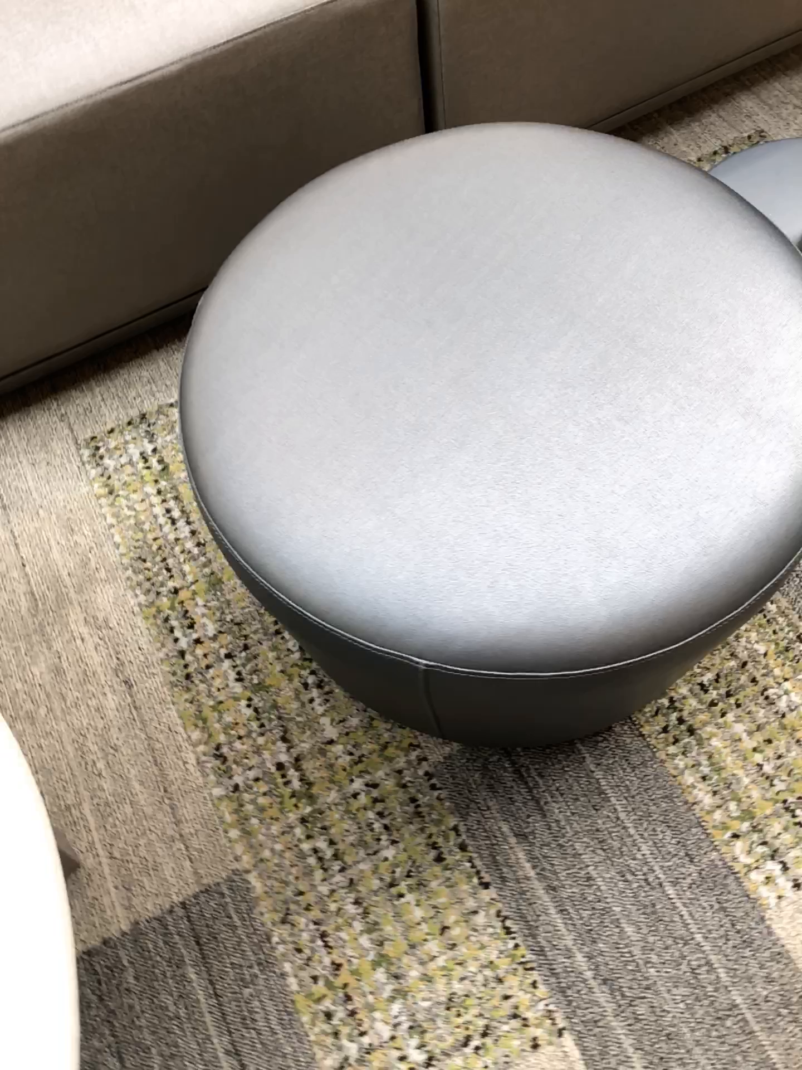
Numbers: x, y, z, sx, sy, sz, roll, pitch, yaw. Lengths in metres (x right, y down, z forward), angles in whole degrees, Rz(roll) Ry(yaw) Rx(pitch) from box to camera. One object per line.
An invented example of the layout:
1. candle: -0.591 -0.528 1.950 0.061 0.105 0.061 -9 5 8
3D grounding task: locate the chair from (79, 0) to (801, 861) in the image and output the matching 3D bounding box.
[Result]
1. chair: 0.115 -0.094 0.932 0.620 0.459 0.571 -23 63 -6
